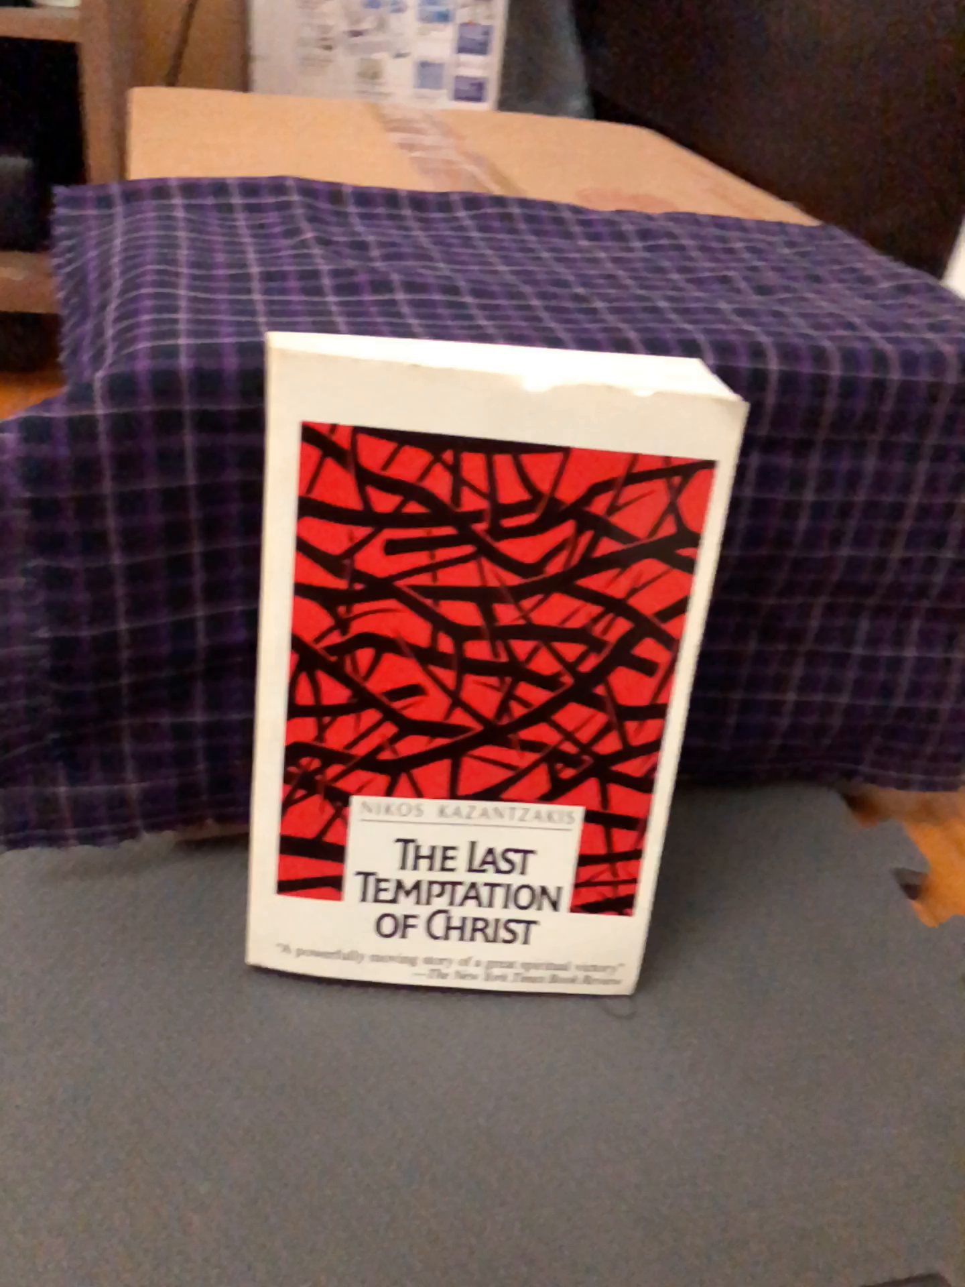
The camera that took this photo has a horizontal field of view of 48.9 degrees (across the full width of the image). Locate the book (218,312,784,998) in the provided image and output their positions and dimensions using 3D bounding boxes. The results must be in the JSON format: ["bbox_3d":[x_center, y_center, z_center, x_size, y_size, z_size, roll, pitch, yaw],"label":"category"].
[{"bbox_3d":[0.000,0.009,0.345,0.150,0.209,0.050,4,23,2],"label":"book"}]
